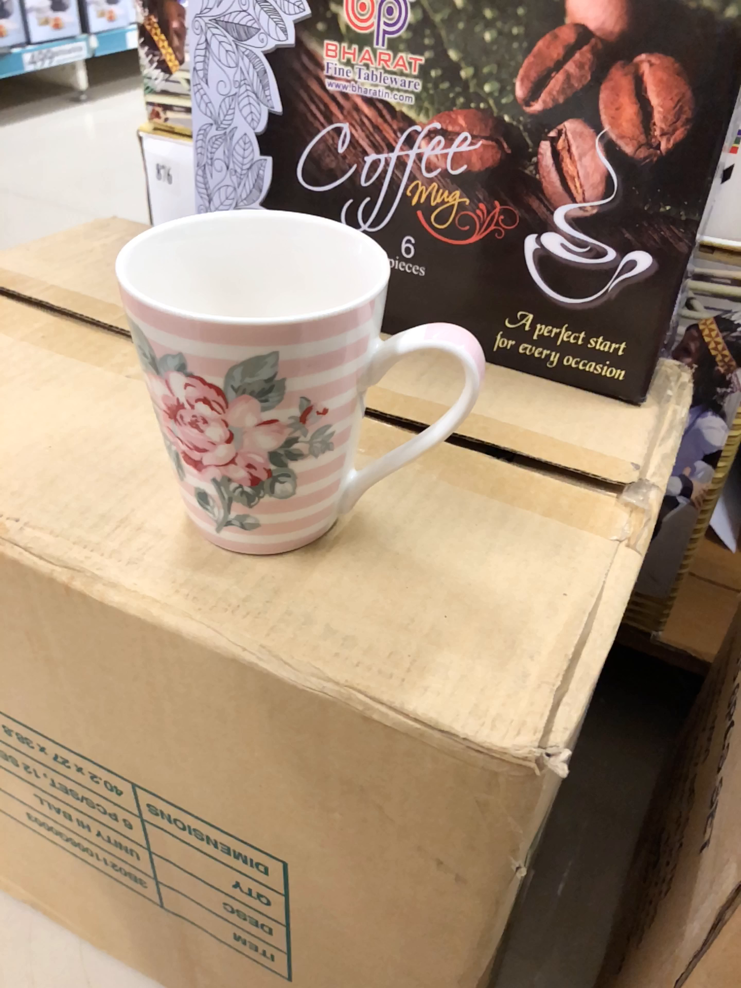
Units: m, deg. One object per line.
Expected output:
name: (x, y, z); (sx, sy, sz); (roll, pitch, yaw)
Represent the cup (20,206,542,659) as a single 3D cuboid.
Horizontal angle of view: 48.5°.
cup: (-0.024, -0.027, 0.275); (0.130, 0.089, 0.091); (15, 39, 14)
